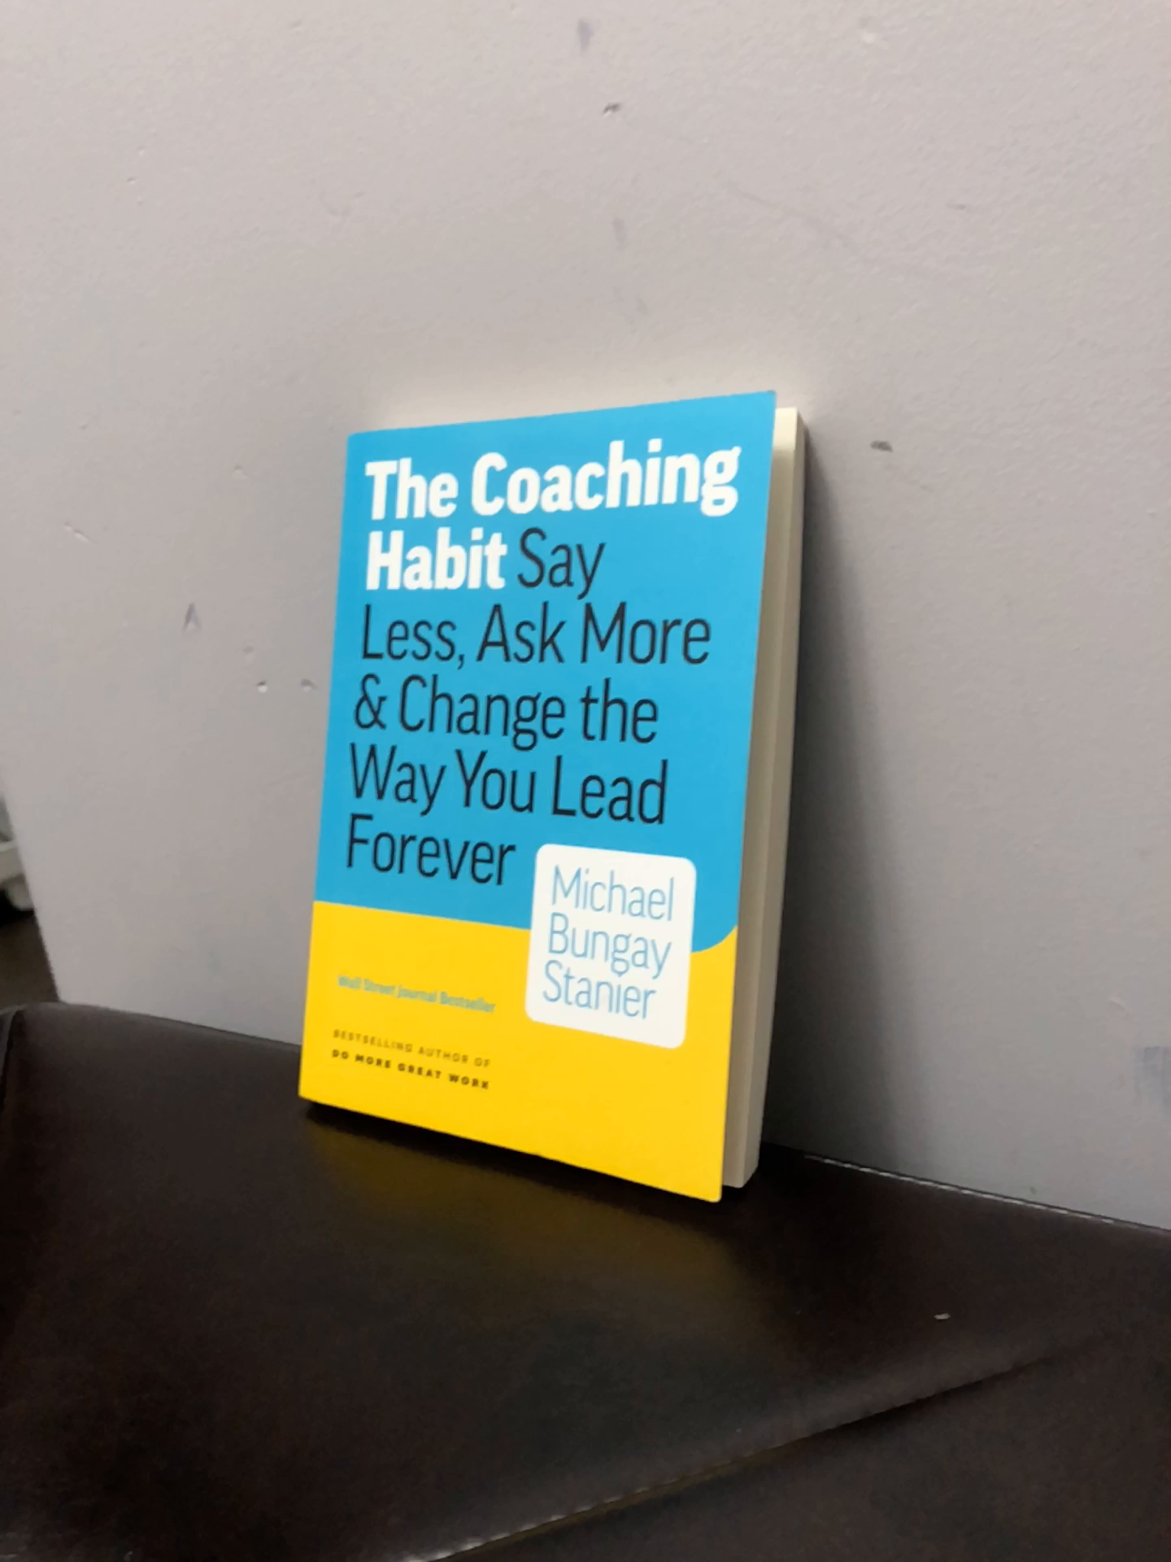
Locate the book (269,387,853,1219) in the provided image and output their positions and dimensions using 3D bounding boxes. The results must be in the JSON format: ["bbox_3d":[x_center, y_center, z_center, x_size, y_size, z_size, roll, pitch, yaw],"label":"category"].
[{"bbox_3d":[-0.011,0.000,0.356,0.145,0.196,0.030,5,-2,30],"label":"book"}]
